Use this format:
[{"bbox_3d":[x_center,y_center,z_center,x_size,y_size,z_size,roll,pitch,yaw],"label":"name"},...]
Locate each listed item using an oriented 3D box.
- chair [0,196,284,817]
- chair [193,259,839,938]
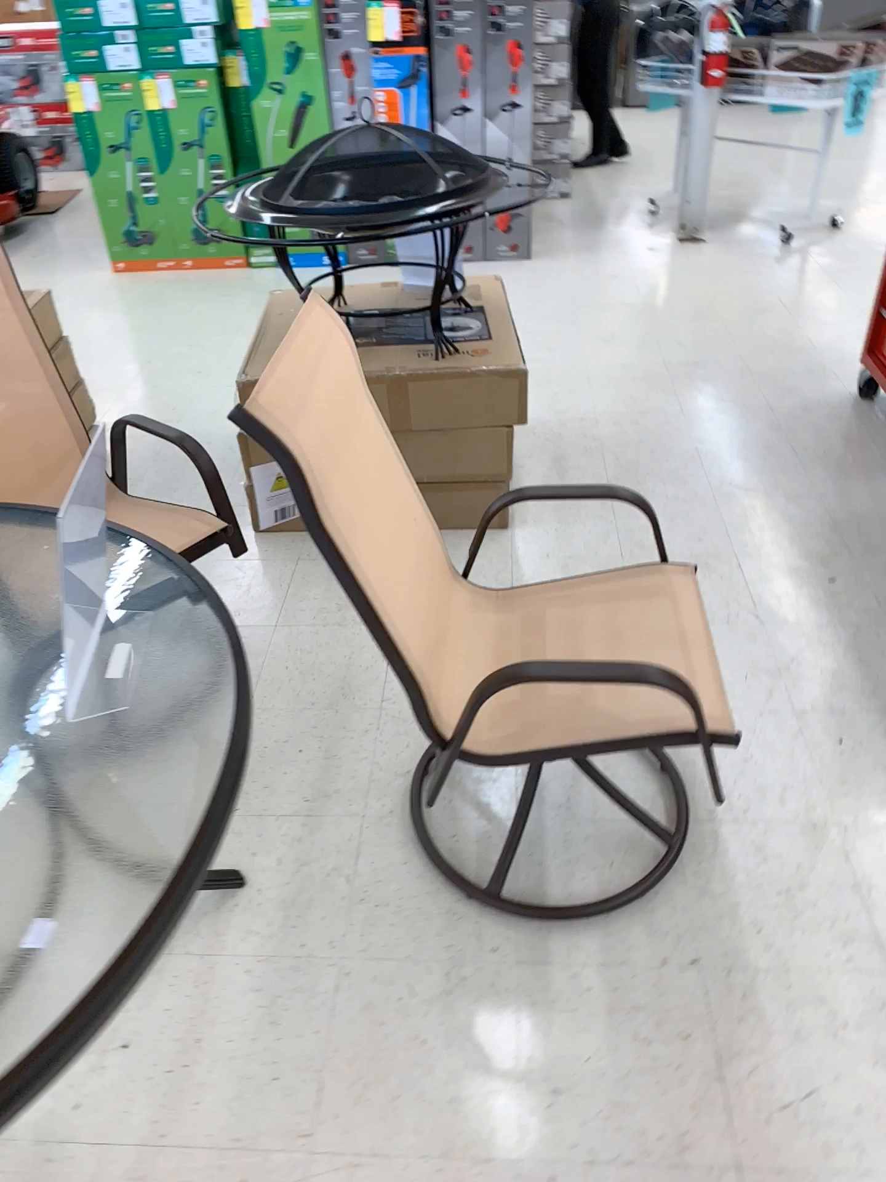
[{"bbox_3d":[-0.842,-0.206,1.879,0.569,0.956,0.709,-31,44,-33],"label":"chair"},{"bbox_3d":[0.107,0.033,1.502,0.707,0.956,0.571,-1,36,4],"label":"chair"}]
